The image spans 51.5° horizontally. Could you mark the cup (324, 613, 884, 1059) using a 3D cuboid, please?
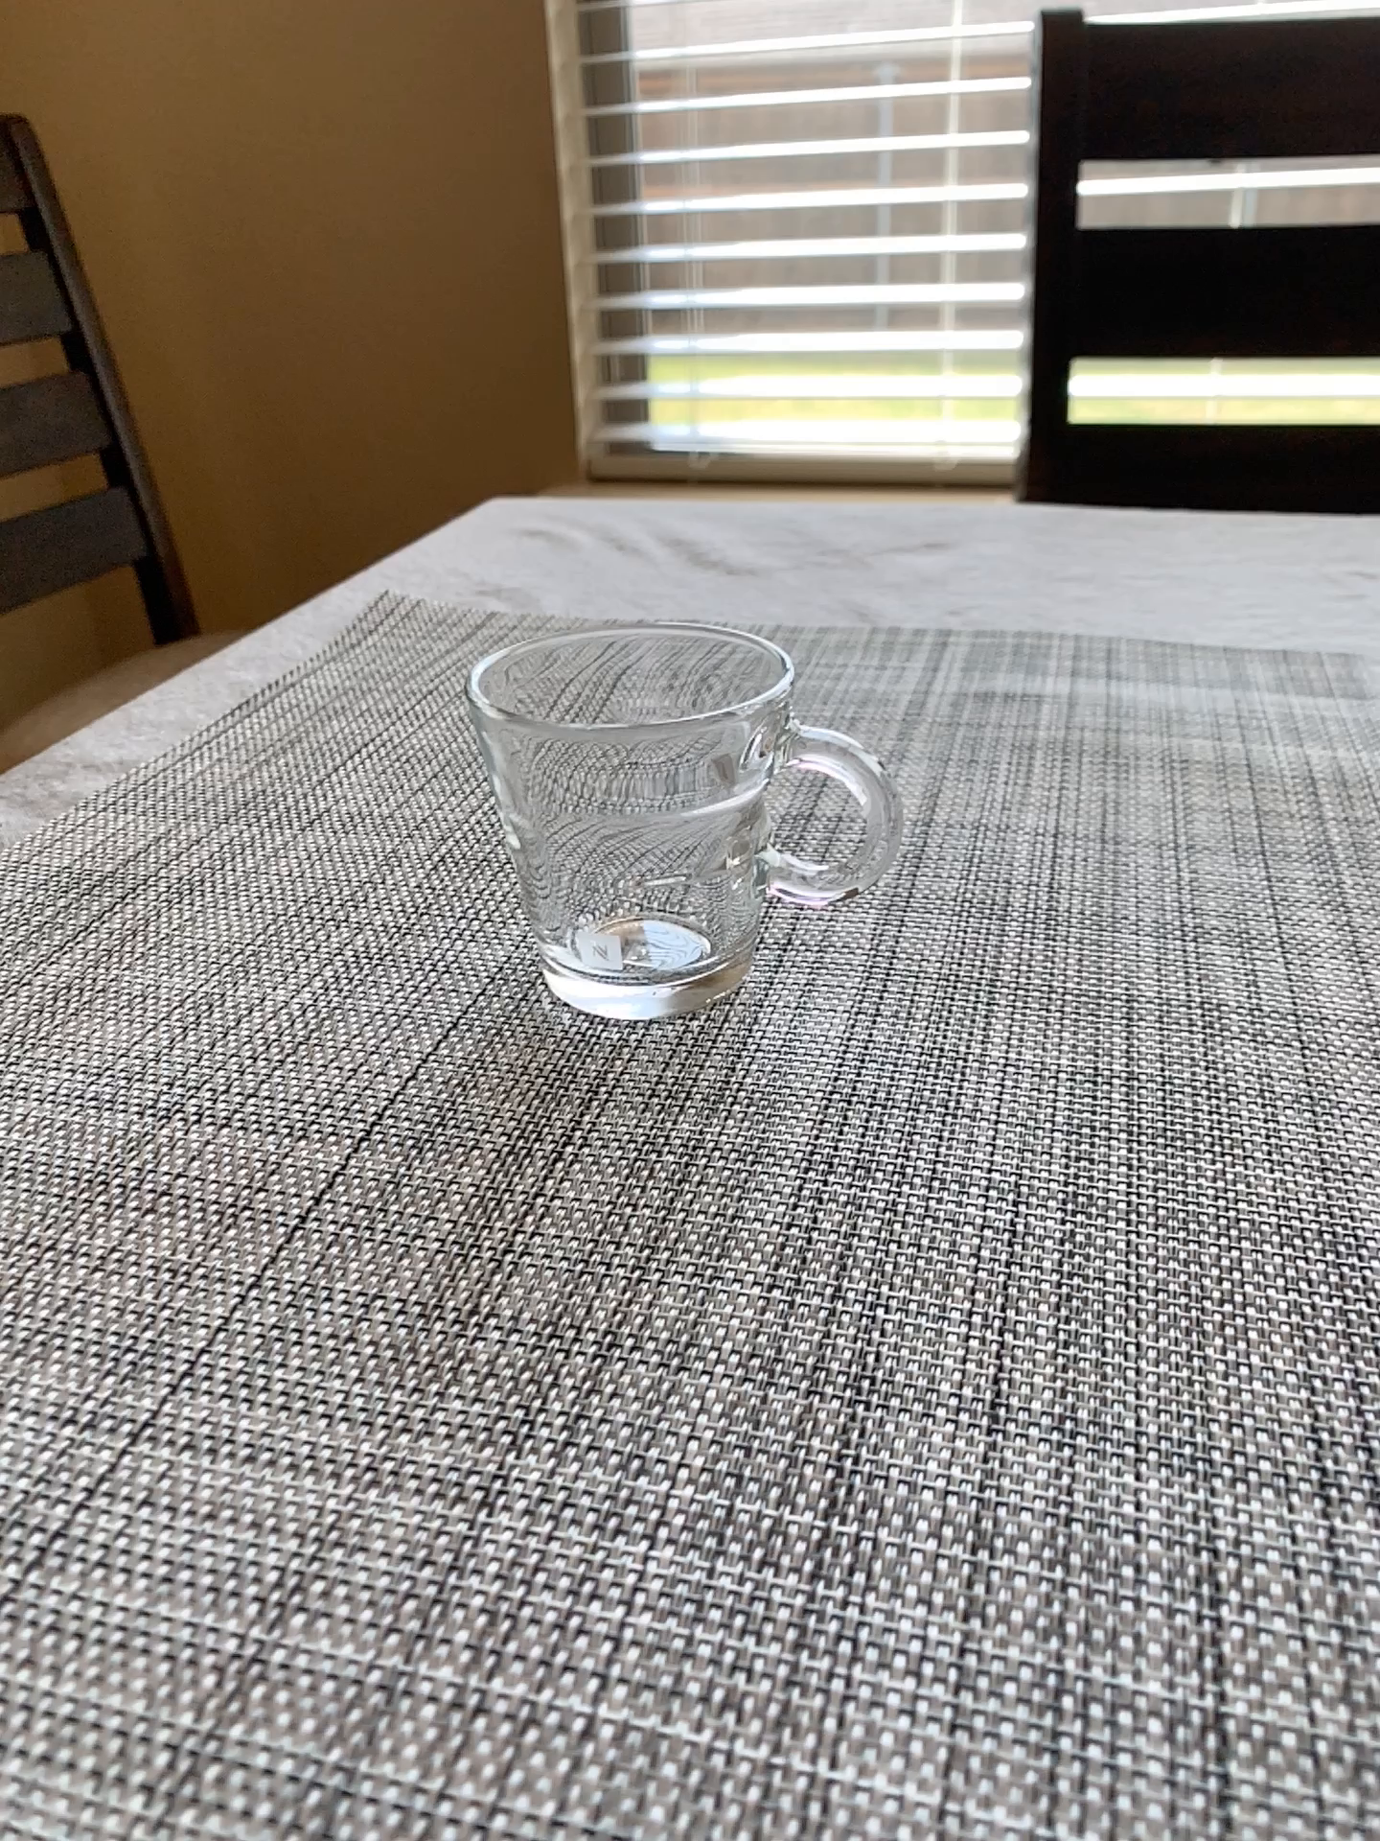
[{"bbox_3d":[-0.011,-0.019,0.263,0.083,0.060,0.058,3,28,17],"label":"cup"}]
